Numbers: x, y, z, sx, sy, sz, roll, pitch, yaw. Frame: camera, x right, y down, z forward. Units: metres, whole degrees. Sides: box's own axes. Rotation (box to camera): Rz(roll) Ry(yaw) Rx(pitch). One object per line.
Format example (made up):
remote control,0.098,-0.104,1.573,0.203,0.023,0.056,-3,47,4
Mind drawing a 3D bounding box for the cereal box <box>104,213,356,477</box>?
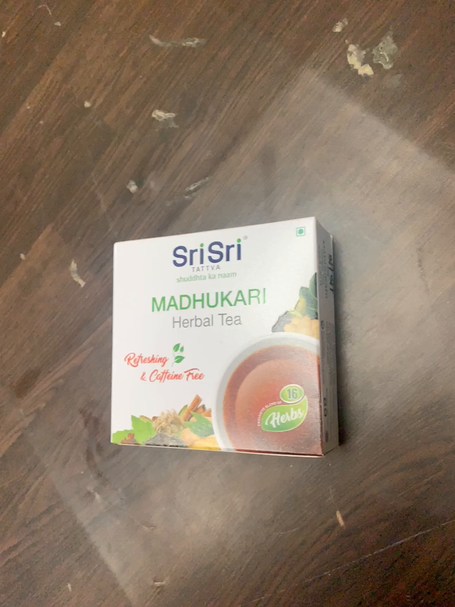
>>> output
cereal box,-0.002,0.022,0.259,0.130,0.040,0.120,-3,84,24
